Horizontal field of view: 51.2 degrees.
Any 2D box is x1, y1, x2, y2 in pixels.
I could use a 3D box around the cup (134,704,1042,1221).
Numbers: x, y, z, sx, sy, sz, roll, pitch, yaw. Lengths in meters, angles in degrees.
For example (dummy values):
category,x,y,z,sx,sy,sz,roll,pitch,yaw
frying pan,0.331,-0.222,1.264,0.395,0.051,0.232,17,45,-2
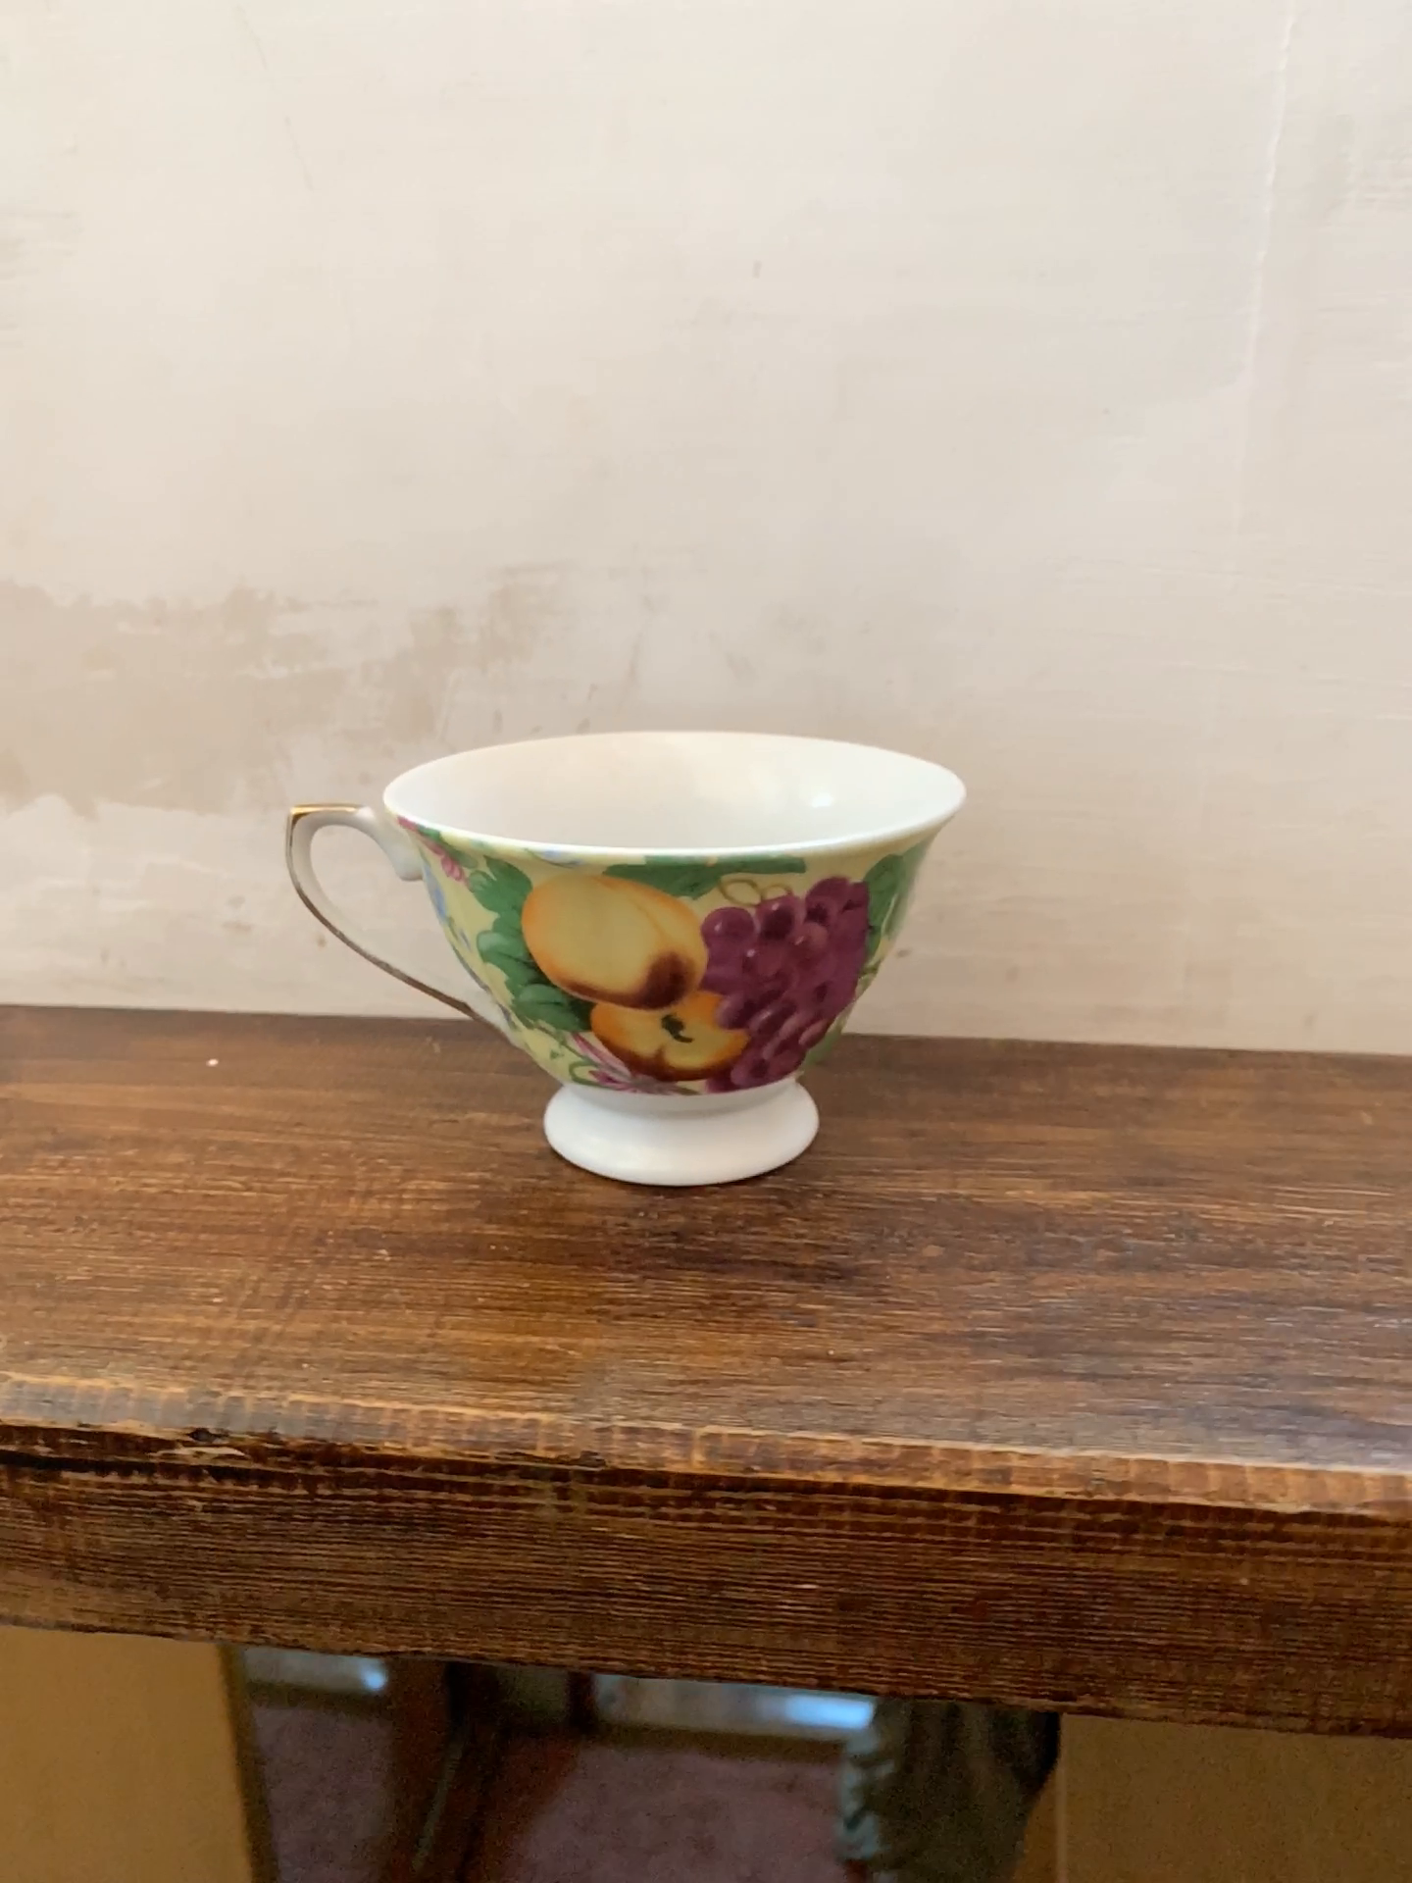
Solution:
category,x,y,z,sx,sy,sz,roll,pitch,yaw
cup,-0.014,-0.003,0.250,0.123,0.058,0.092,1,18,4
